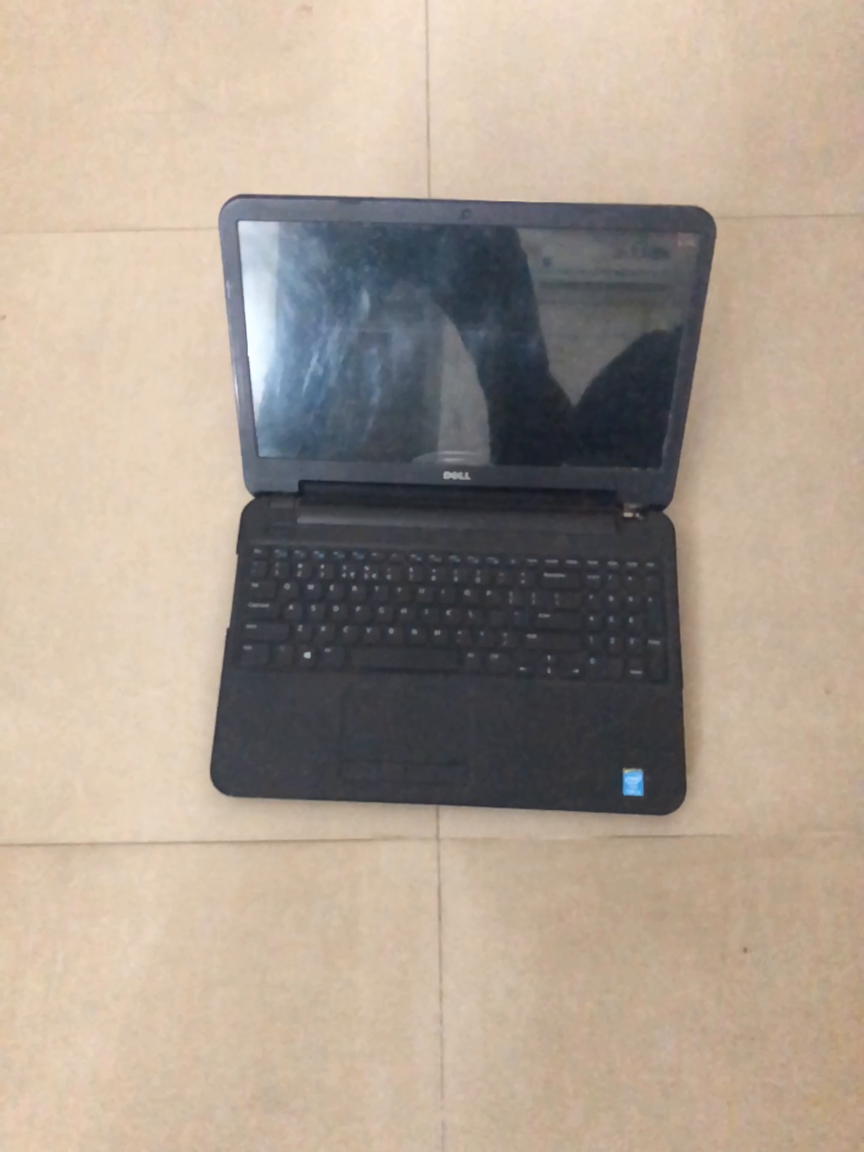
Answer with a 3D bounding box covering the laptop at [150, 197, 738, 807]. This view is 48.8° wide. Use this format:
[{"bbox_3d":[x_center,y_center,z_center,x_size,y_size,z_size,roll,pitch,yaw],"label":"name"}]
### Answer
[{"bbox_3d":[0.016,-0.054,0.708,0.342,0.179,0.406,2,69,3],"label":"laptop"}]
